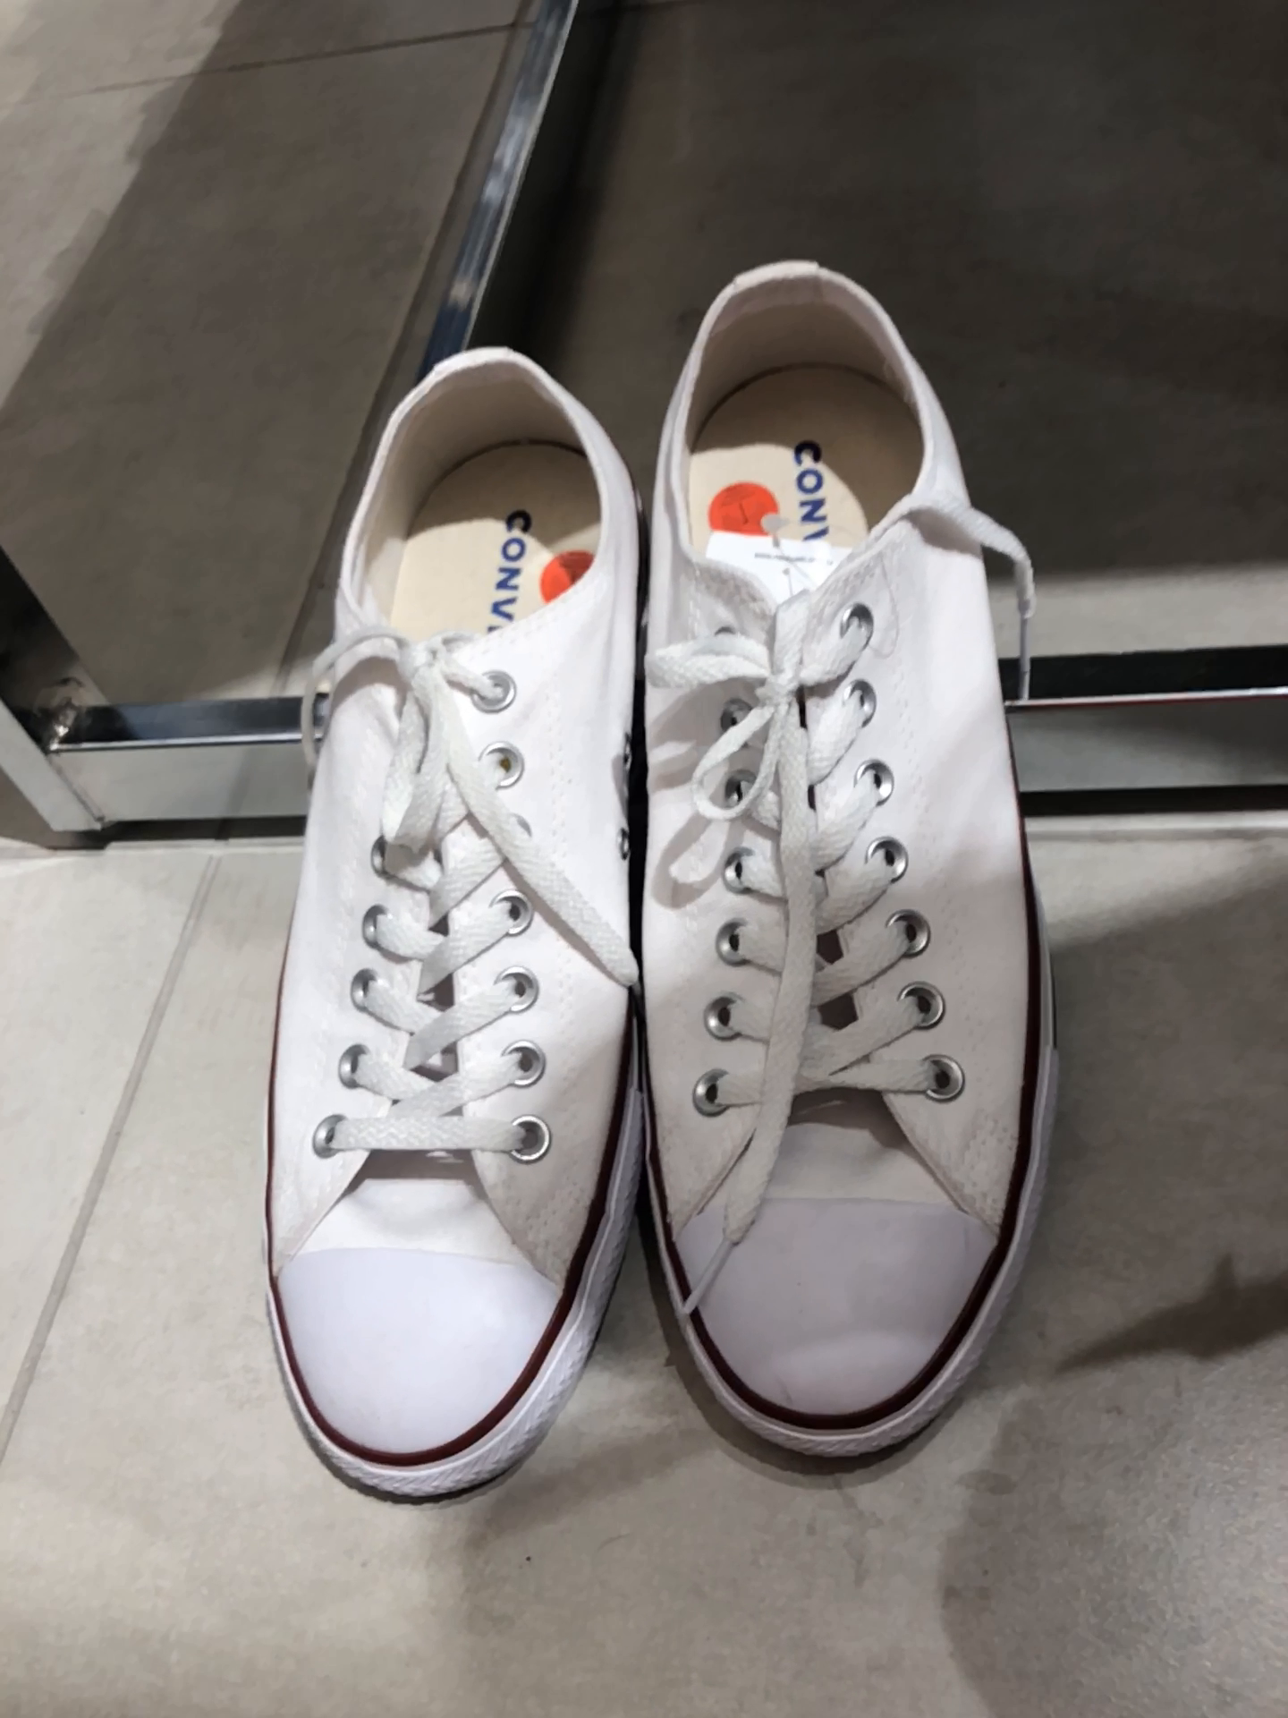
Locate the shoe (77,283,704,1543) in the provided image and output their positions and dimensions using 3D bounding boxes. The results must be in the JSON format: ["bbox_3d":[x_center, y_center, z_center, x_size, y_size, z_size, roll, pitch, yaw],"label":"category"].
[{"bbox_3d":[-0.053,0.008,0.378,0.110,0.090,0.291,-1,75,14],"label":"shoe"}]

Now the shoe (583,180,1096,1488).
[{"bbox_3d":[0.050,-0.010,0.360,0.100,0.090,0.291,-2,75,13],"label":"shoe"}]
